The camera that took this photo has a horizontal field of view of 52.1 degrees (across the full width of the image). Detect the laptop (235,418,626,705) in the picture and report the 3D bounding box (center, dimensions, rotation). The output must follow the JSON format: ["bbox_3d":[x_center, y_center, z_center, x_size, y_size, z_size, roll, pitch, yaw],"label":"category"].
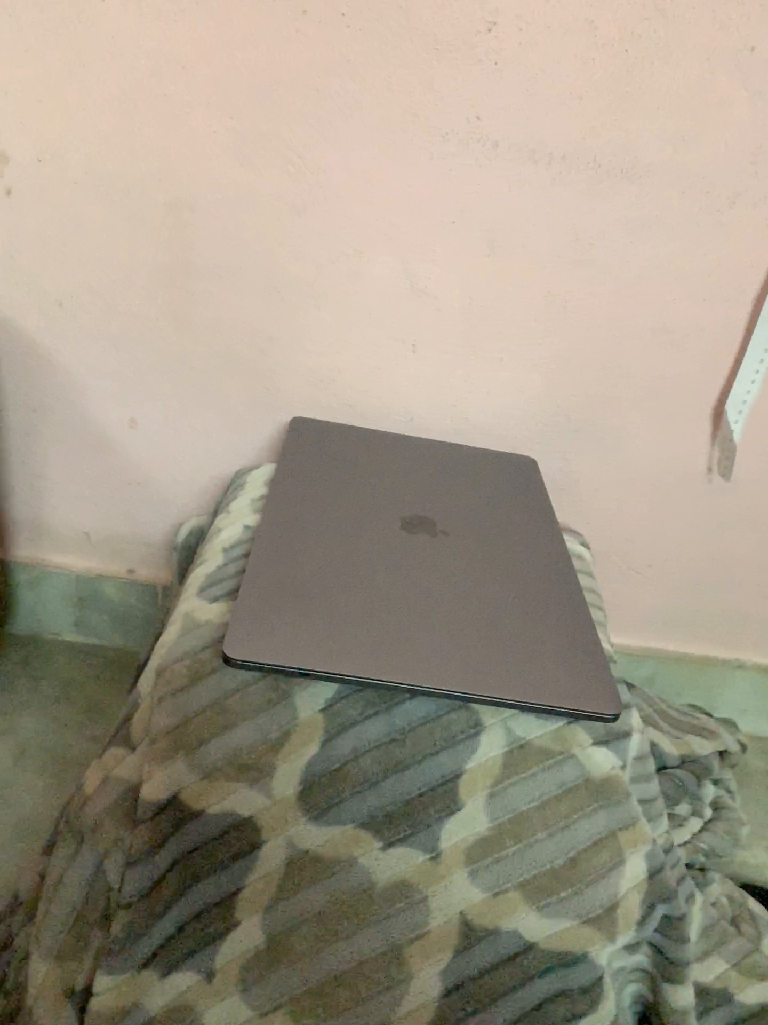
[{"bbox_3d":[0.032,0.012,0.593,0.228,0.002,0.327,8,30,-3],"label":"laptop"}]
